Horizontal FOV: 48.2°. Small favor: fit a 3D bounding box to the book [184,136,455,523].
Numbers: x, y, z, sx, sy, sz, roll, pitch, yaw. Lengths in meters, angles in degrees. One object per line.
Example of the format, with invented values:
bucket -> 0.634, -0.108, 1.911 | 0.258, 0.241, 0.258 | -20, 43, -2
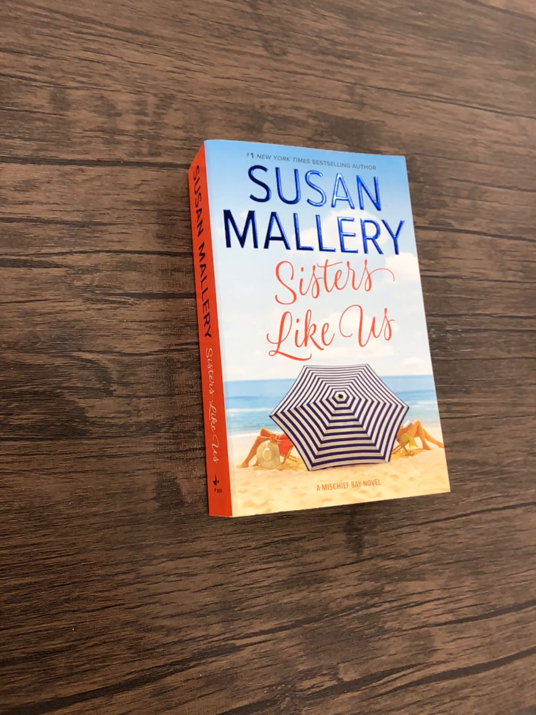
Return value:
book -> 0.020, -0.013, 0.279 | 0.104, 0.043, 0.160 | -1, 80, -19
